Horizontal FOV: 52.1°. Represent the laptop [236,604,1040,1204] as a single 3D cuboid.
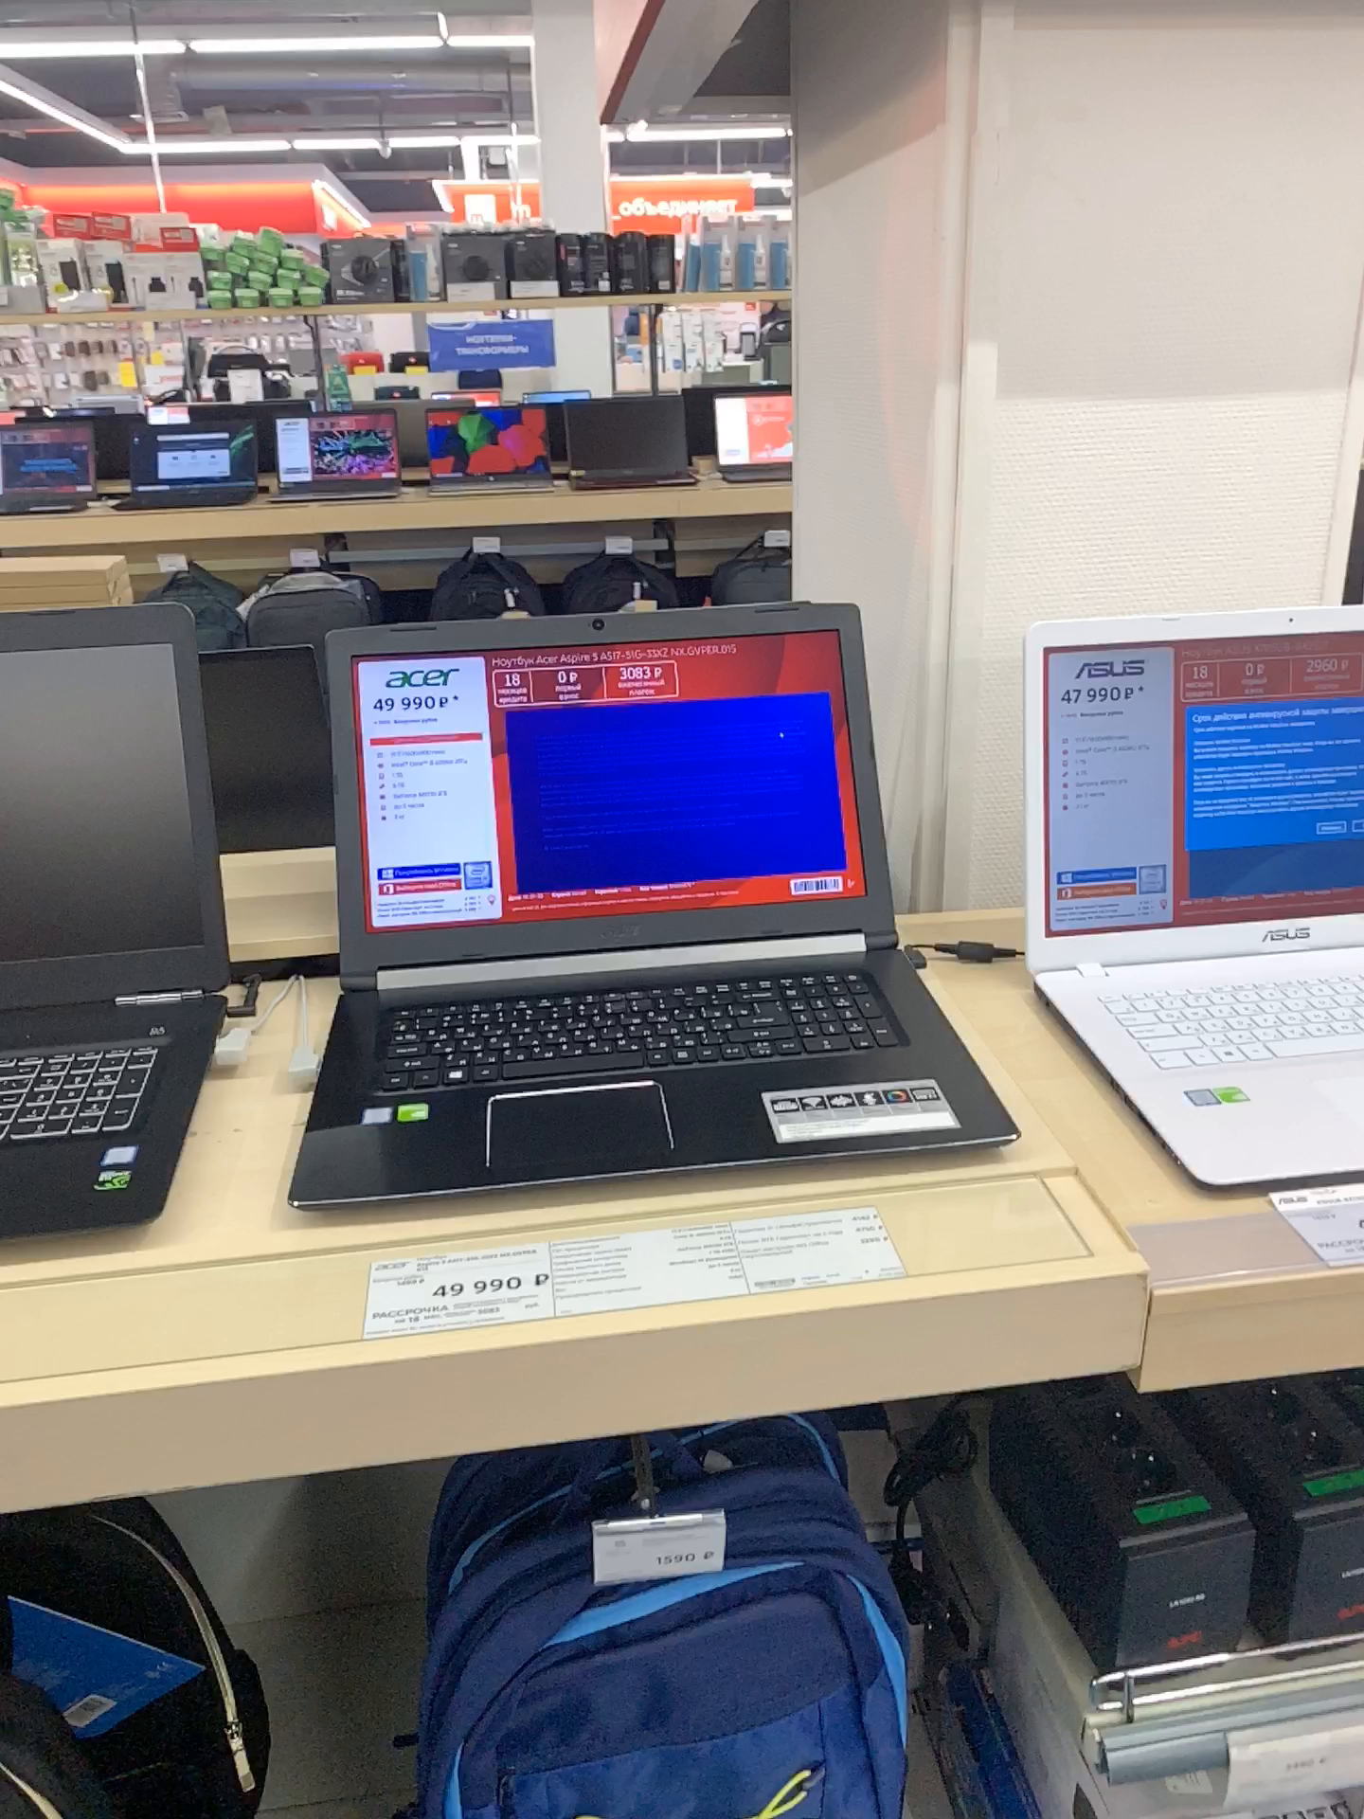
[{"bbox_3d":[-0.037,-0.041,0.959,0.420,0.235,0.422,-4,23,-6],"label":"laptop"}]
